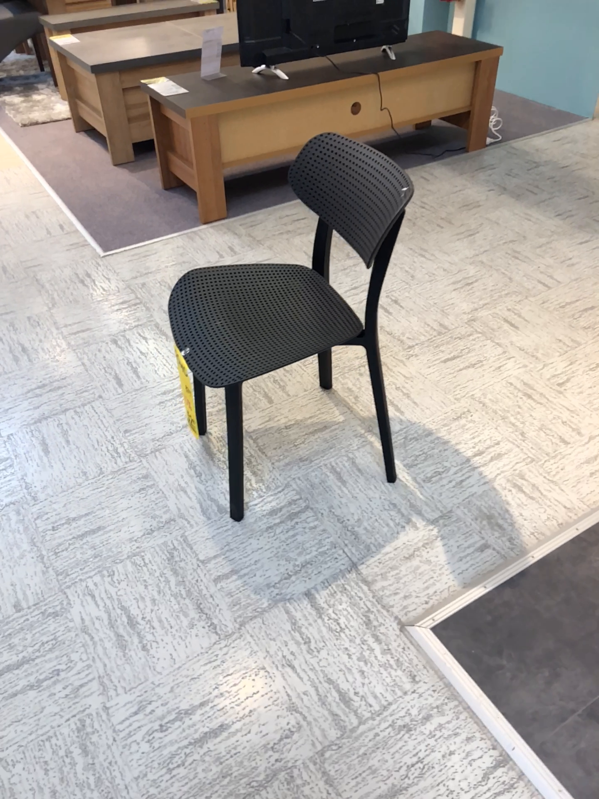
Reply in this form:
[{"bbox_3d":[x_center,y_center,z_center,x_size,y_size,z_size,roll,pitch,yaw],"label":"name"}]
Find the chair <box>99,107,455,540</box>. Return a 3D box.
[{"bbox_3d":[-0.067,-0.187,1.467,0.521,0.686,0.542,-16,42,-16],"label":"chair"}]
